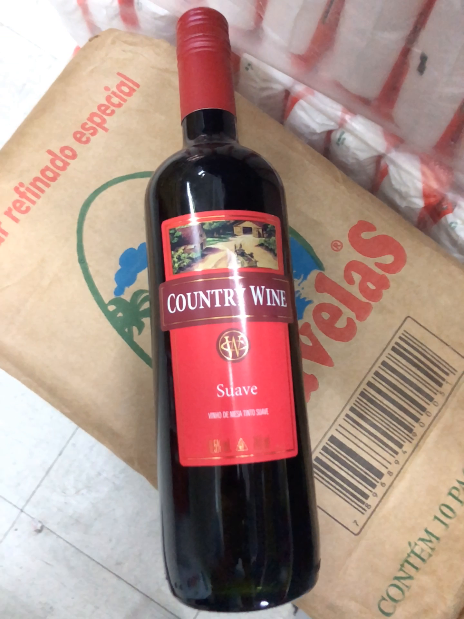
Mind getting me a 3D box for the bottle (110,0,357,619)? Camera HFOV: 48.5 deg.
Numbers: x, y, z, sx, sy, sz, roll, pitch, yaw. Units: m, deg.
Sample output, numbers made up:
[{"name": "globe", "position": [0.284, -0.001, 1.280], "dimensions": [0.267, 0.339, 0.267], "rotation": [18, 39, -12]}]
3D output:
[{"name": "bottle", "position": [-0.002, -0.013, 0.247], "dimensions": [0.080, 0.060, 0.290], "rotation": [-5, 86, 0]}]
